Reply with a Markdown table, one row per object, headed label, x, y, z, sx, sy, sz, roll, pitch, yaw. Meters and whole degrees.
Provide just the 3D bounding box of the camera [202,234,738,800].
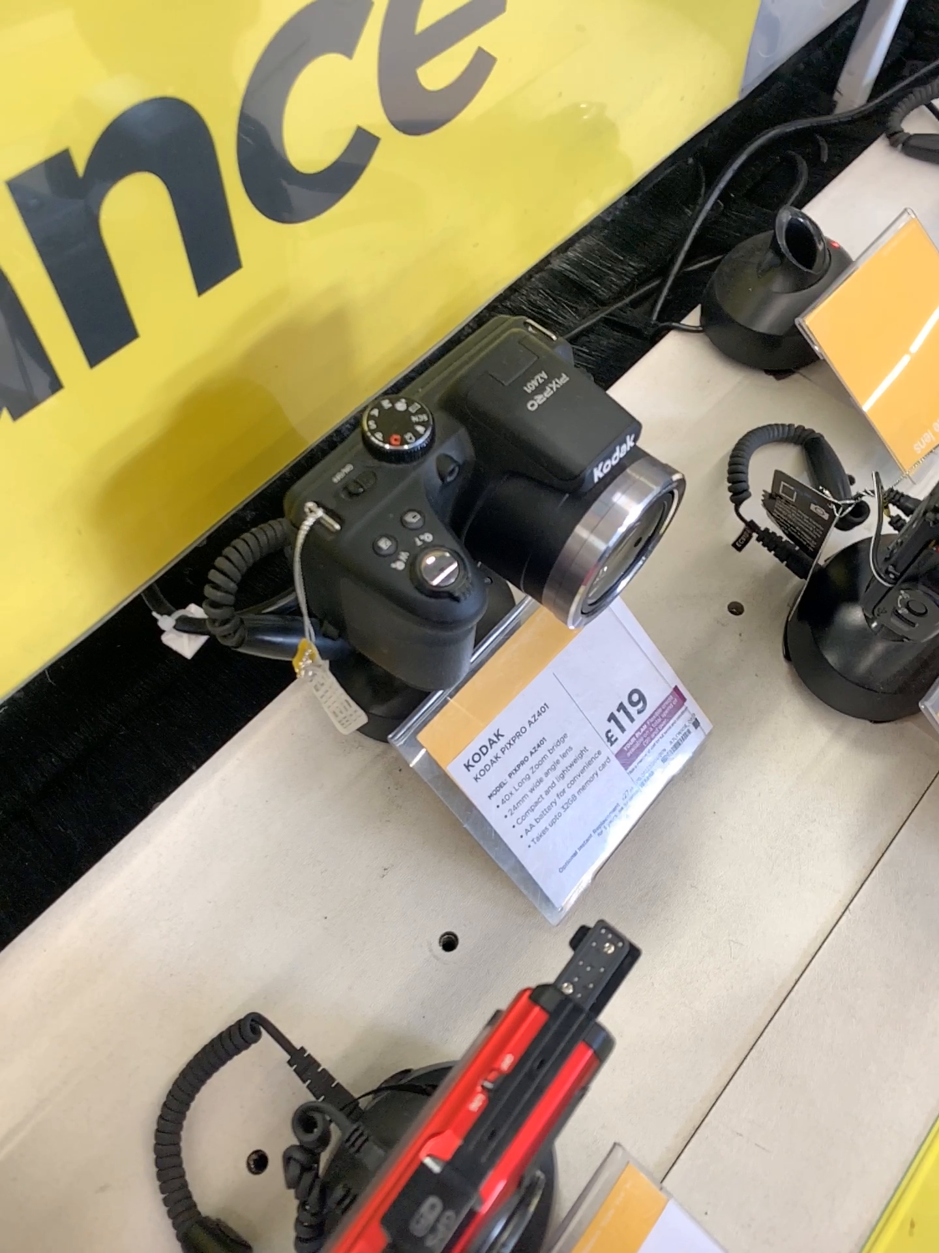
| label | x | y | z | sx | sy | sz | roll | pitch | yaw |
| --- | --- | --- | --- | --- | --- | --- | --- | --- | --- |
| camera | 0.002 | -0.034 | 0.318 | 0.090 | 0.099 | 0.130 | 37 | 67 | 16 |
